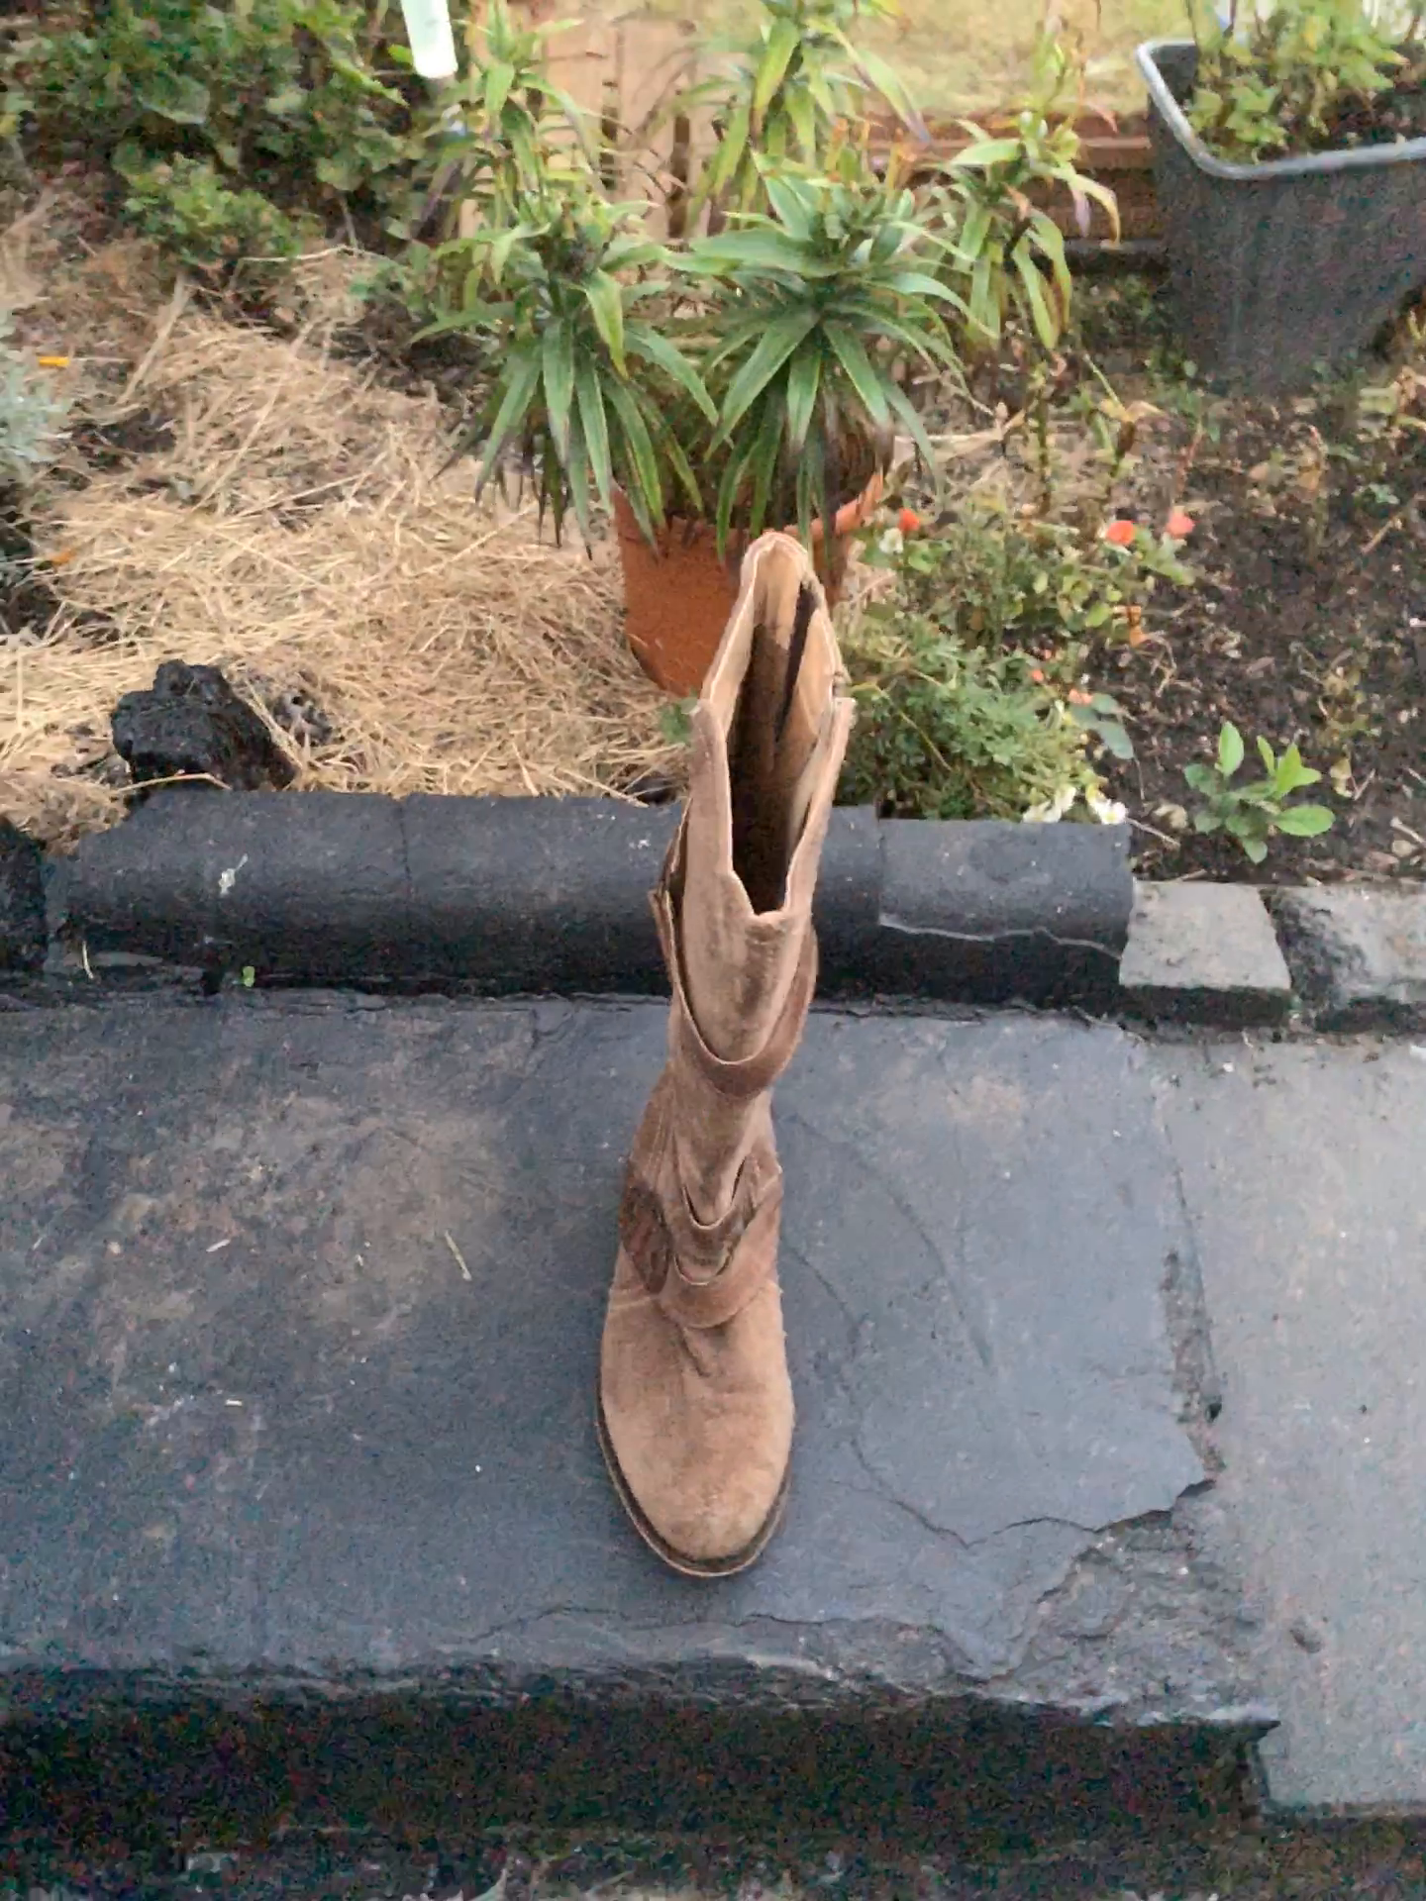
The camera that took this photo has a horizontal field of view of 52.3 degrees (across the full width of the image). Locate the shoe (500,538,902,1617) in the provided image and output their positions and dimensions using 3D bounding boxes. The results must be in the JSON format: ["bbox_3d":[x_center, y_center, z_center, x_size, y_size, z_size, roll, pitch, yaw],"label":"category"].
[{"bbox_3d":[-0.007,0.073,0.593,0.100,0.377,0.272,0,50,-1],"label":"shoe"}]
